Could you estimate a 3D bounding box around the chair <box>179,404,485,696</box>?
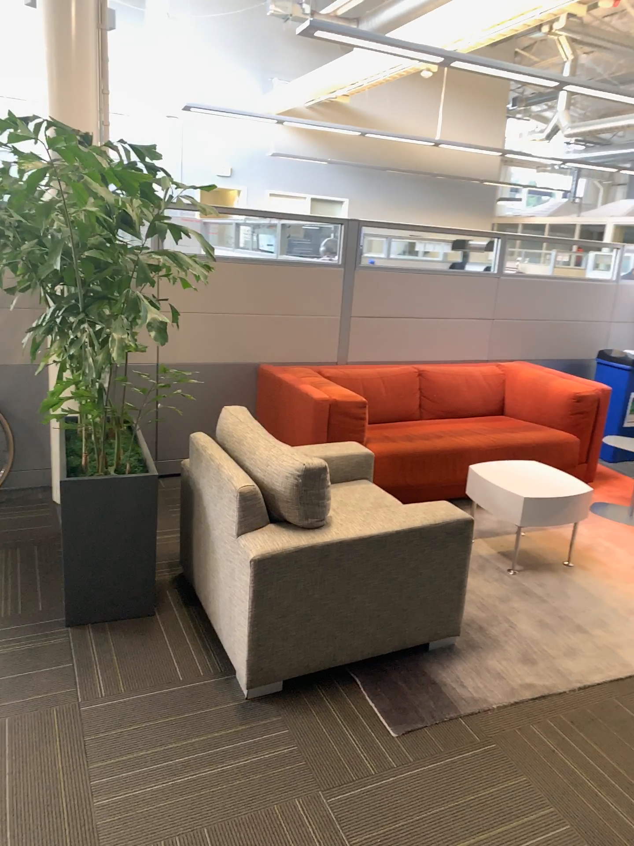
[{"bbox_3d":[-0.007,0.410,2.658,0.870,0.727,0.924,-4,17,-27],"label":"chair"}]
